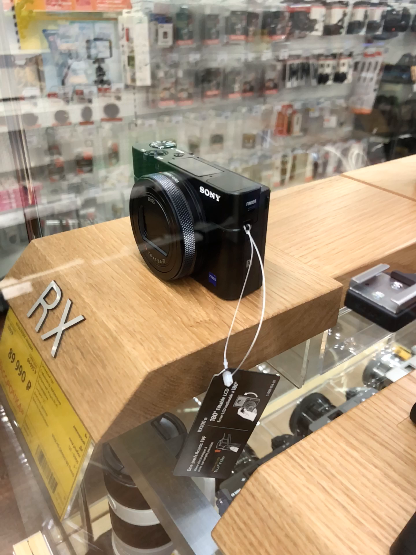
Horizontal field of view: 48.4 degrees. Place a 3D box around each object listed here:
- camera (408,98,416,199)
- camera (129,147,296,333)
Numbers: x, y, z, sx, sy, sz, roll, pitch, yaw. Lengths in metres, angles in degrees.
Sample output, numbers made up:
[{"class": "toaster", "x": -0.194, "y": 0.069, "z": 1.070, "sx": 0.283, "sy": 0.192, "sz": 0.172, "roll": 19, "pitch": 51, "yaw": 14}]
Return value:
[{"class": "camera", "x": 0.210, "y": -0.110, "z": 0.391, "sx": 0.052, "sy": 0.070, "sz": 0.040, "roll": -20, "pitch": 35, "yaw": -32}, {"class": "camera", "x": -0.002, "y": -0.028, "z": 0.270, "sx": 0.040, "sy": 0.070, "sz": 0.100, "roll": -18, "pitch": 35, "yaw": -31}]
